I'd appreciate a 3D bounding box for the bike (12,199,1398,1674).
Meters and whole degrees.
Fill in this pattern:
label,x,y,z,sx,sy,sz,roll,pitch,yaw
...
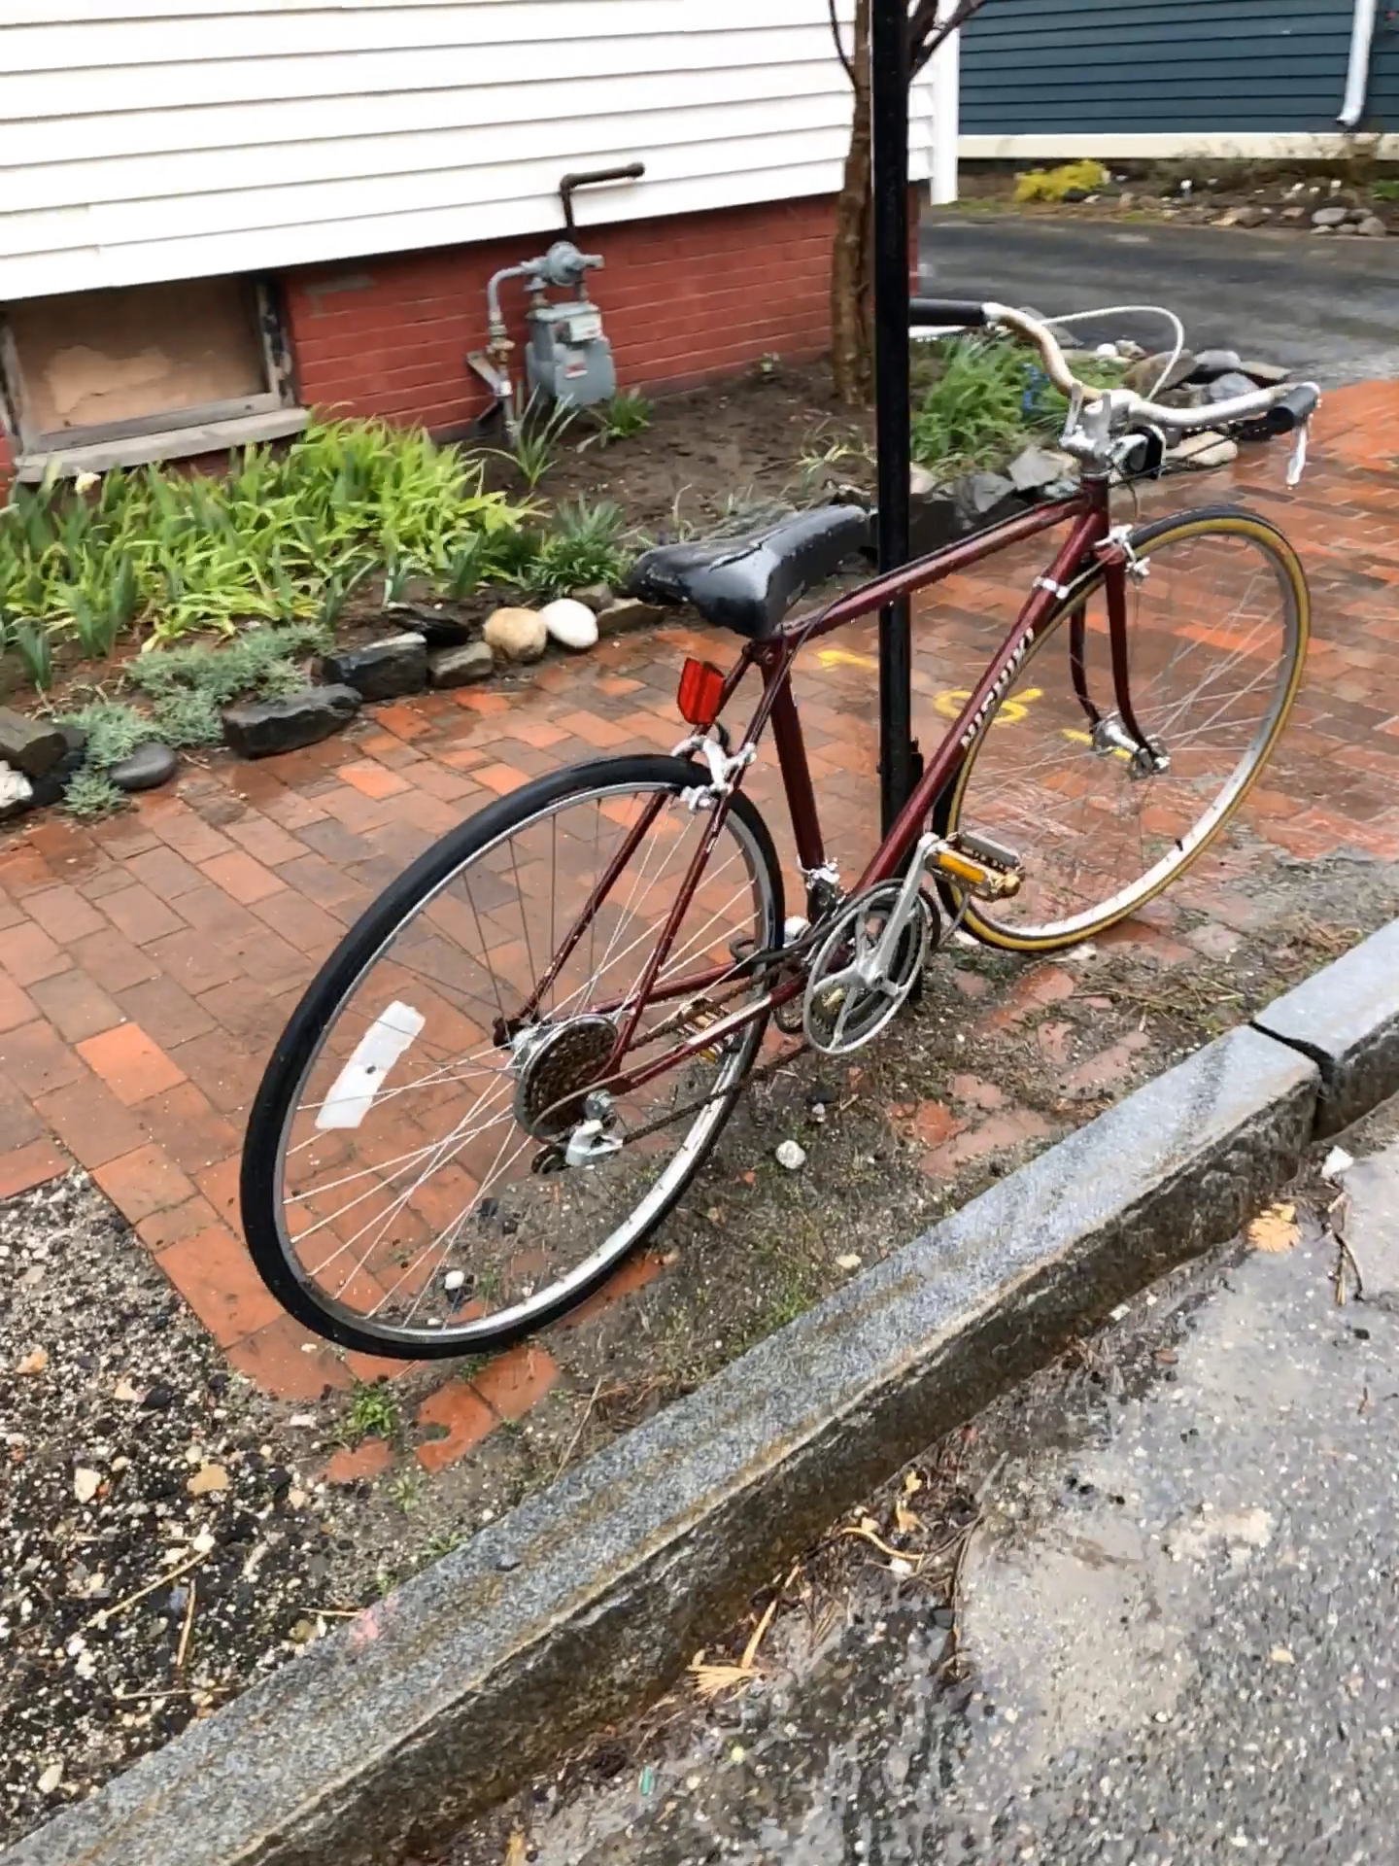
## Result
label,x,y,z,sx,sy,sz,roll,pitch,yaw
bike,0.269,-0.175,1.655,1.611,0.907,0.500,-27,37,-32
